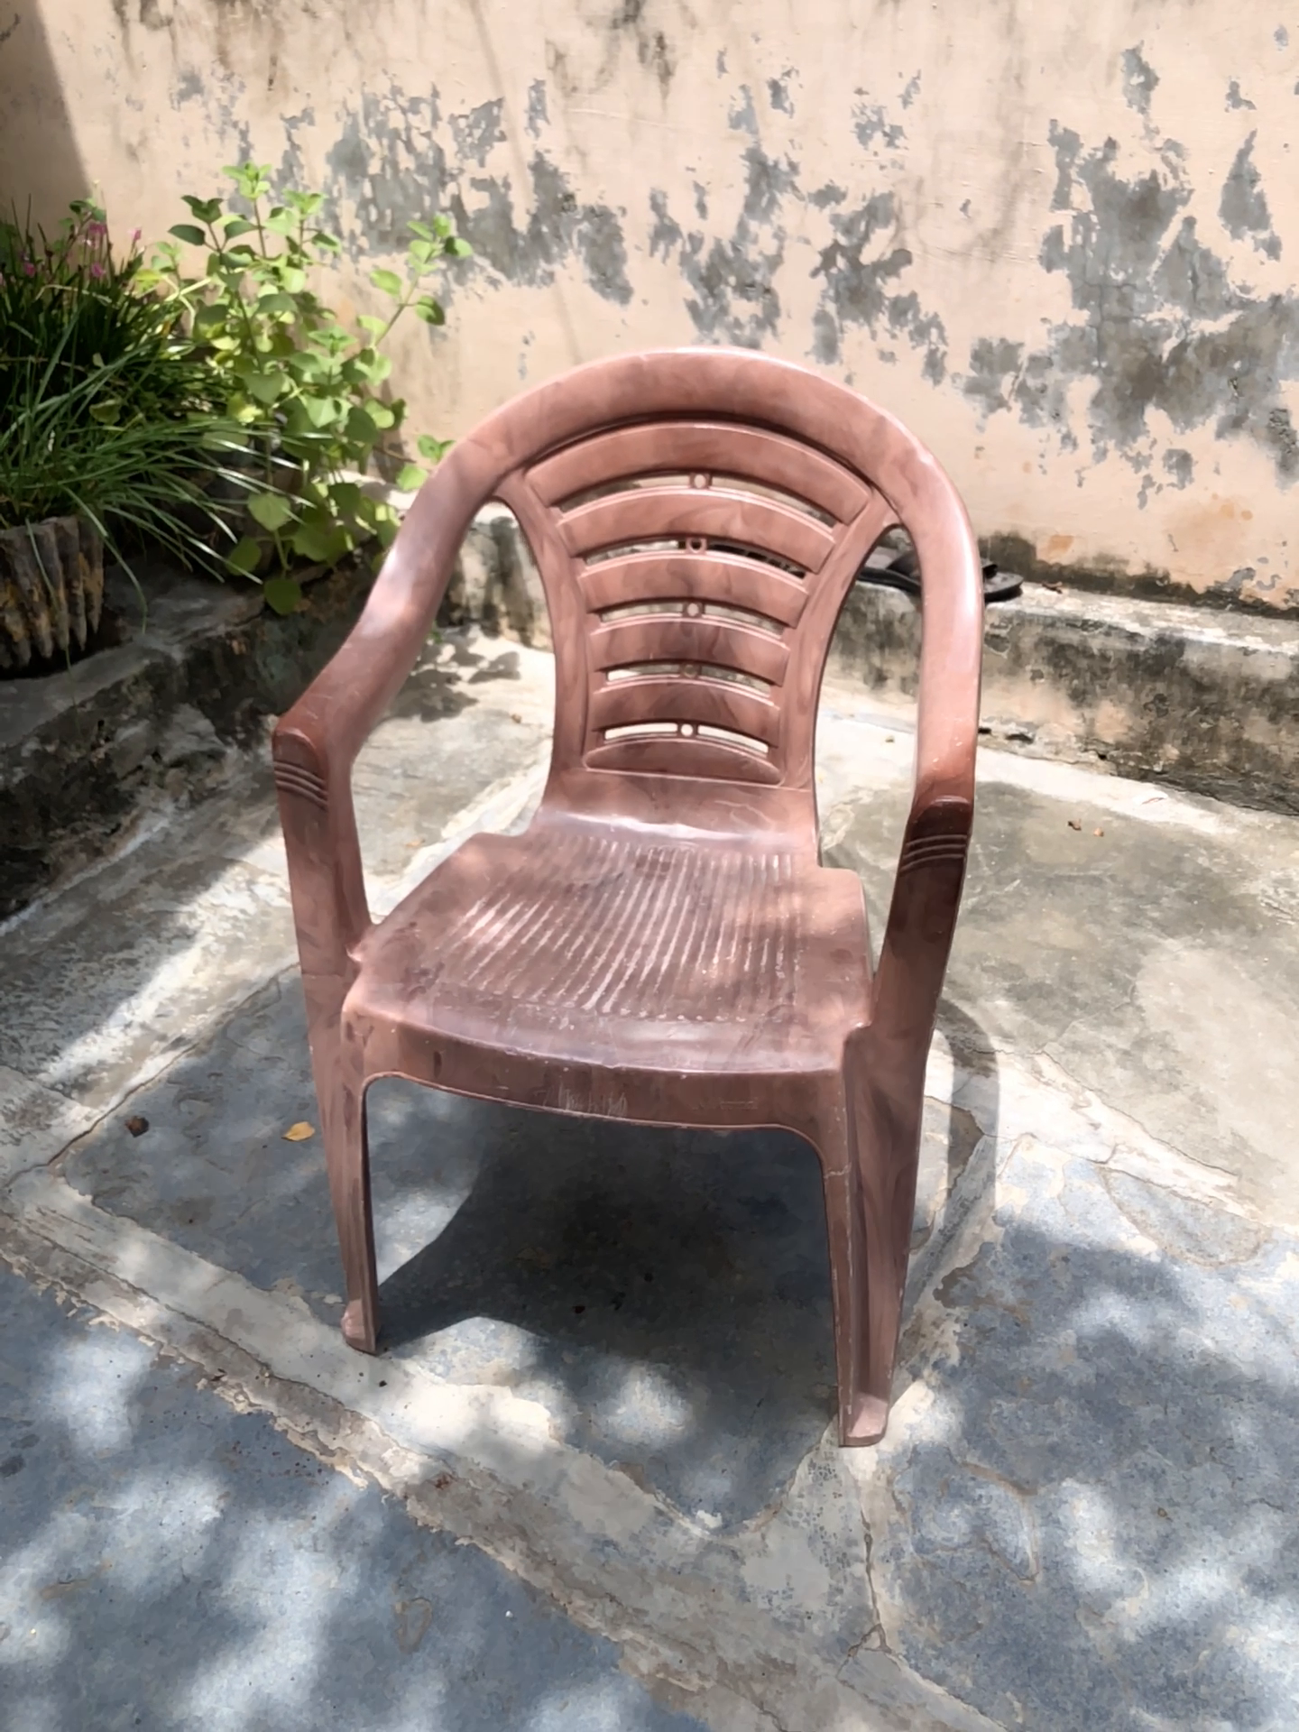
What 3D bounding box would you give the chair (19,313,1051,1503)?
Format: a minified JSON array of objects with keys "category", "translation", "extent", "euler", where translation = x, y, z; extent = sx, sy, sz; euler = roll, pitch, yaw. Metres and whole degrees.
[{"category":"chair","translation":[-0.013,0.008,1.203],"extent":[0.580,0.766,0.543],"euler":[7,35,12]}]
